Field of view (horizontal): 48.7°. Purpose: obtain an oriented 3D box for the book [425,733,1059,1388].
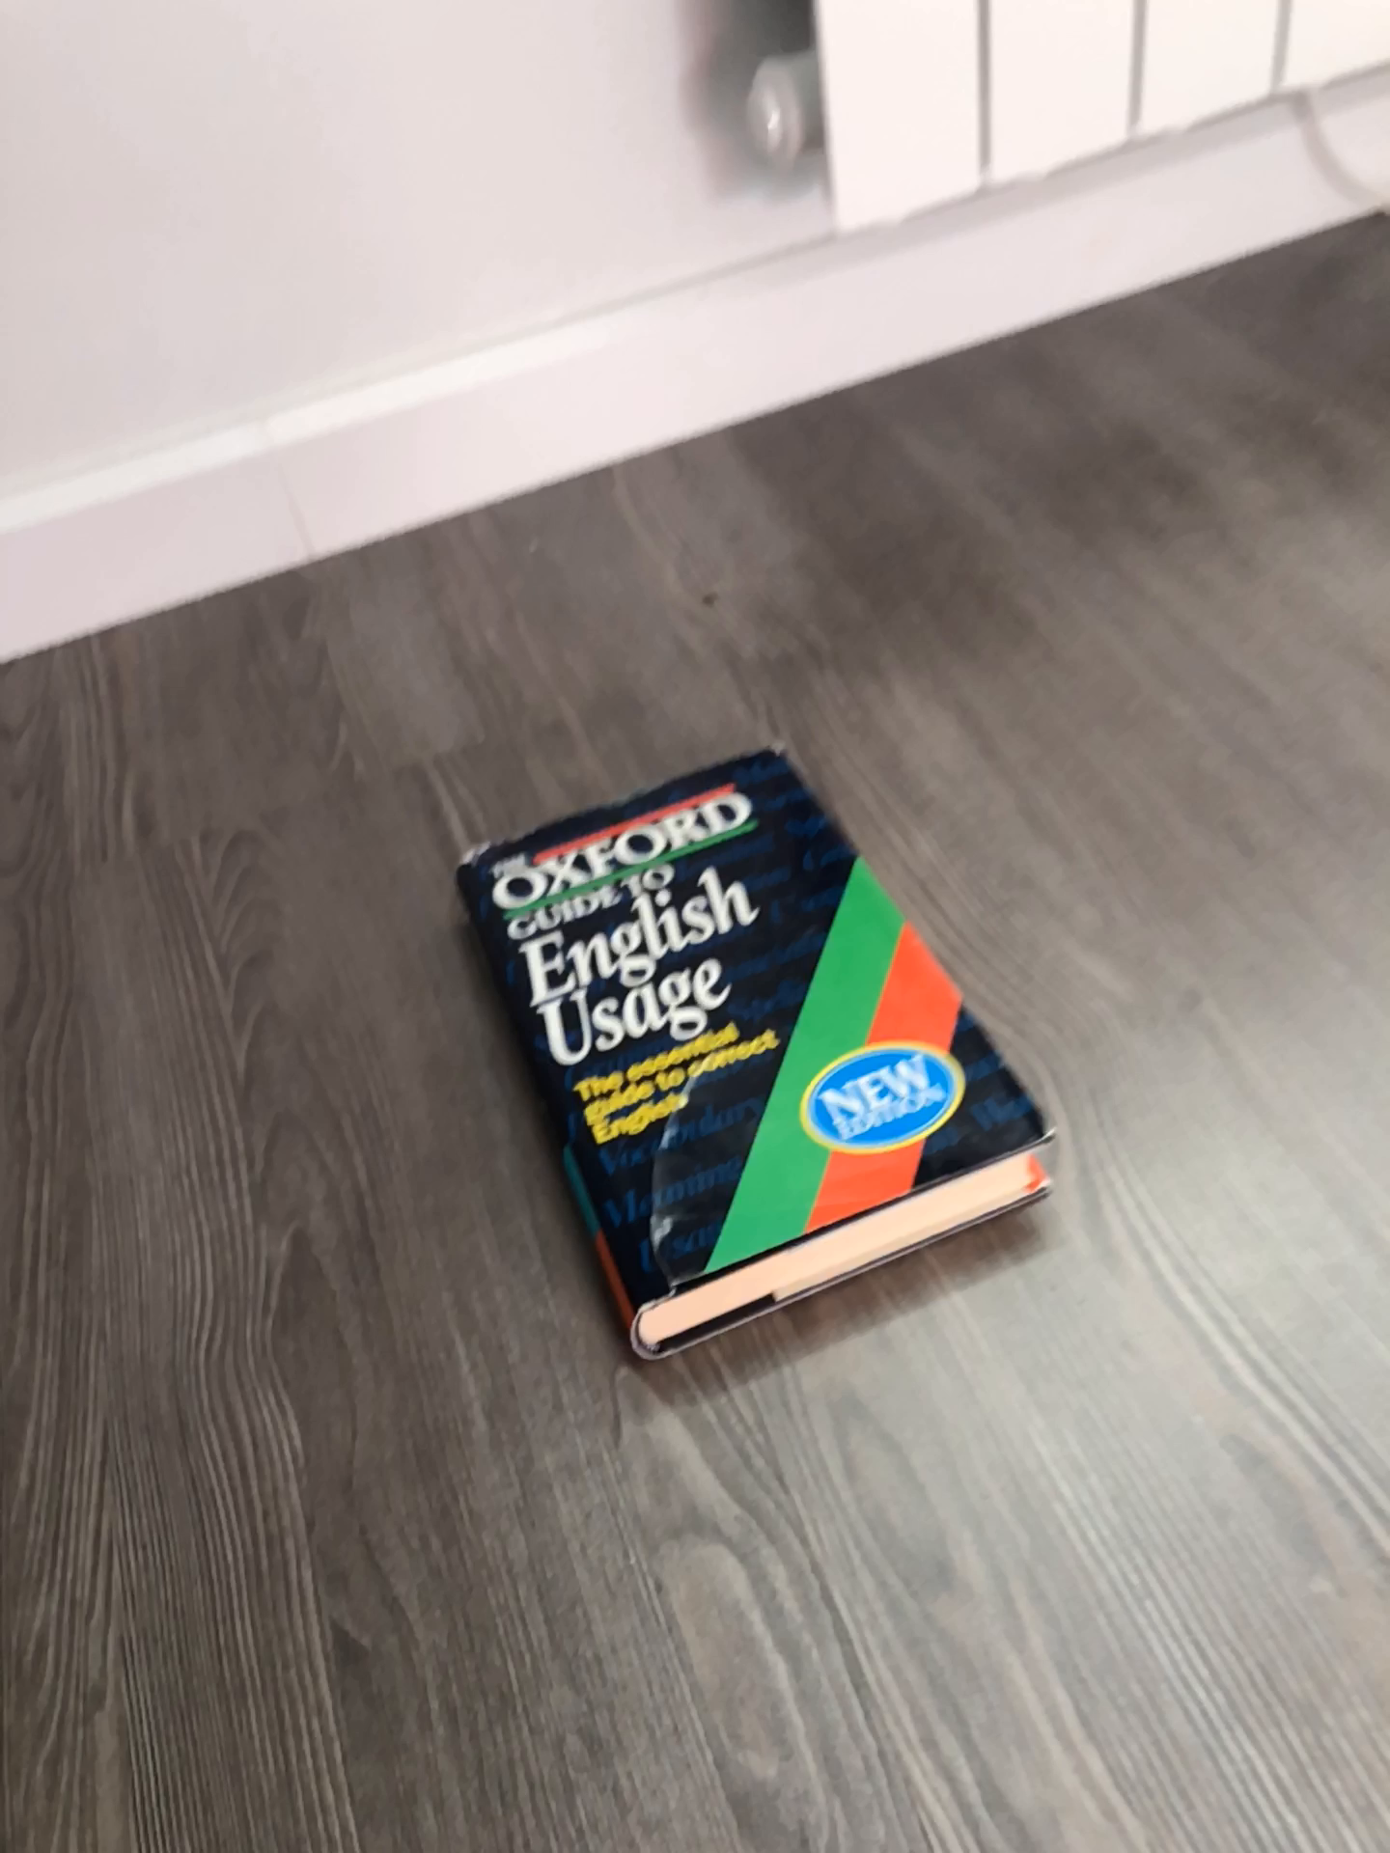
[{"bbox_3d":[0.005,0.031,0.551,0.150,0.035,0.230,-20,45,-9],"label":"book"}]
